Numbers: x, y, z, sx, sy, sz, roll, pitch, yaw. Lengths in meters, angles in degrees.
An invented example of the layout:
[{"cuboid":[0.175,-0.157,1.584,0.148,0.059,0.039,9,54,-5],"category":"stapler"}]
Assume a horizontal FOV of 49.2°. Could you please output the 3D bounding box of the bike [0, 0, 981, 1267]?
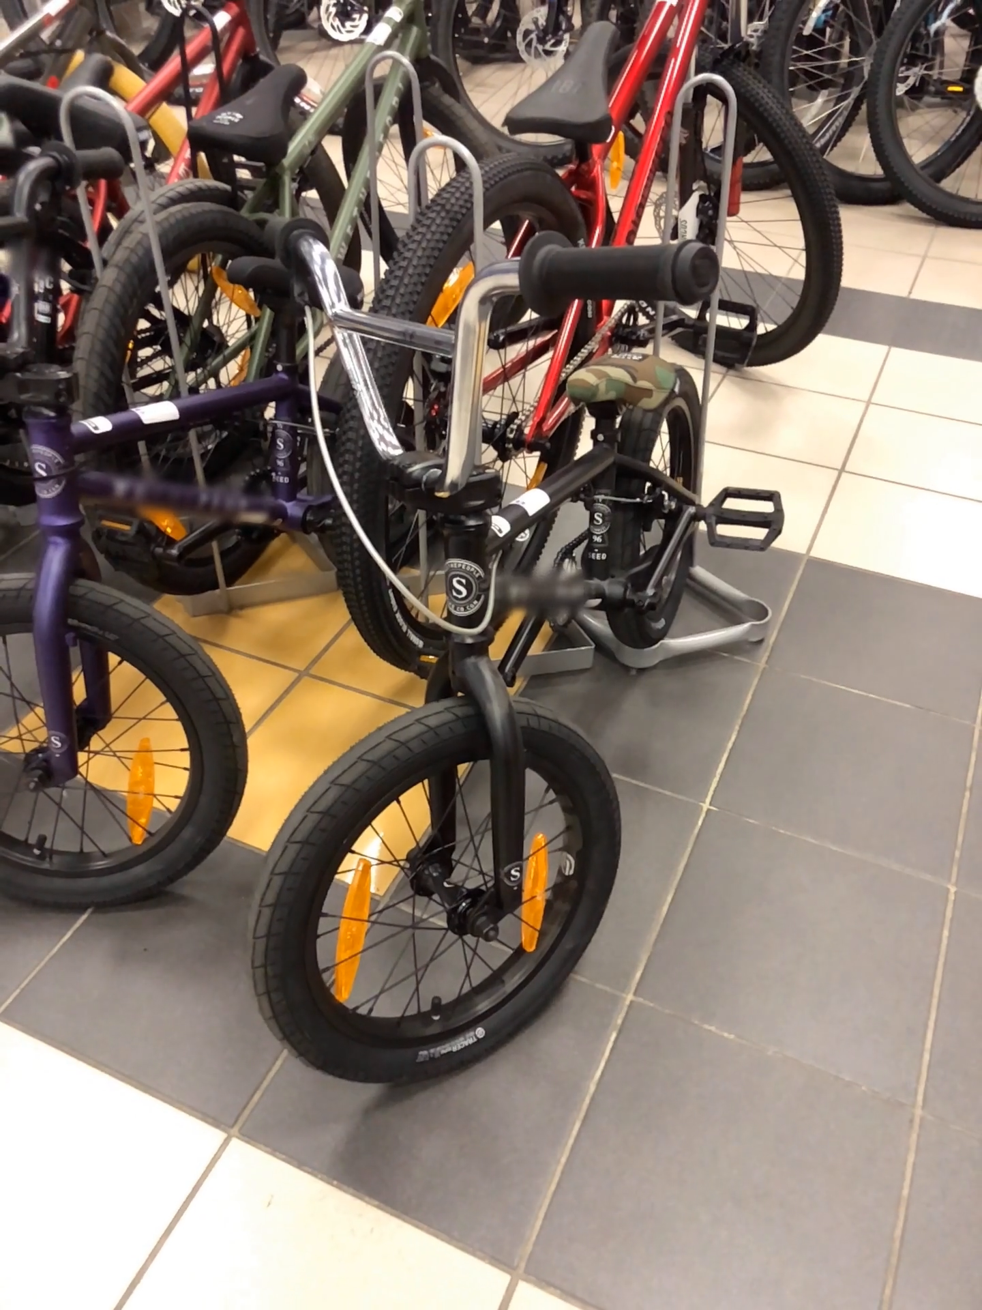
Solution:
[{"cuboid":[0.081,-0.193,1.134,0.676,0.810,1.076,19,40,21],"category":"bike"}]
